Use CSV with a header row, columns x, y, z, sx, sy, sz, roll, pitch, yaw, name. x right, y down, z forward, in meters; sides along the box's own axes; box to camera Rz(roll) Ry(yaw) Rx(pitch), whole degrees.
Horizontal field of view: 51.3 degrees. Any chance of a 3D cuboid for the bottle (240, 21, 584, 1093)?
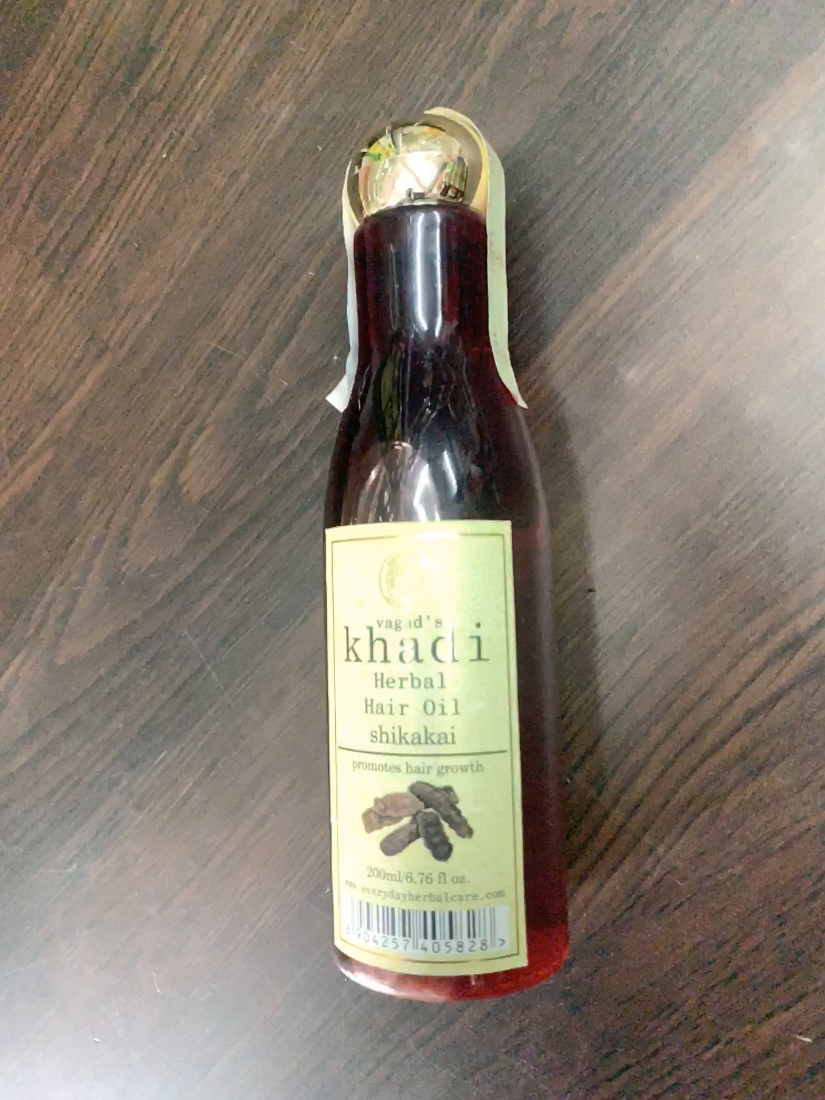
x,y,z,sx,sy,sz,roll,pitch,yaw,name
0.002,0.000,0.168,0.050,0.050,0.170,-2,85,22,bottle
